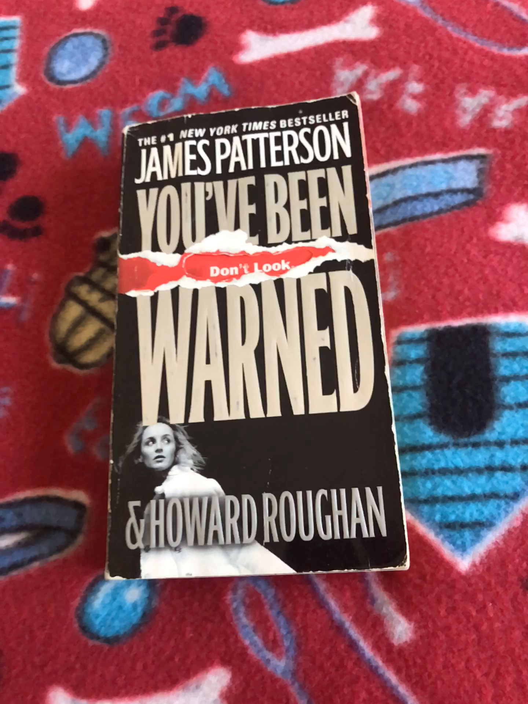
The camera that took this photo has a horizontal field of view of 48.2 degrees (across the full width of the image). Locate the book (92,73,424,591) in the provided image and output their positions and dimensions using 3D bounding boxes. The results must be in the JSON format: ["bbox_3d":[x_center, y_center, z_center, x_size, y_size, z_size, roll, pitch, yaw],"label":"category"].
[{"bbox_3d":[-0.005,-0.011,0.236,0.110,0.040,0.190,-4,76,6],"label":"book"}]
